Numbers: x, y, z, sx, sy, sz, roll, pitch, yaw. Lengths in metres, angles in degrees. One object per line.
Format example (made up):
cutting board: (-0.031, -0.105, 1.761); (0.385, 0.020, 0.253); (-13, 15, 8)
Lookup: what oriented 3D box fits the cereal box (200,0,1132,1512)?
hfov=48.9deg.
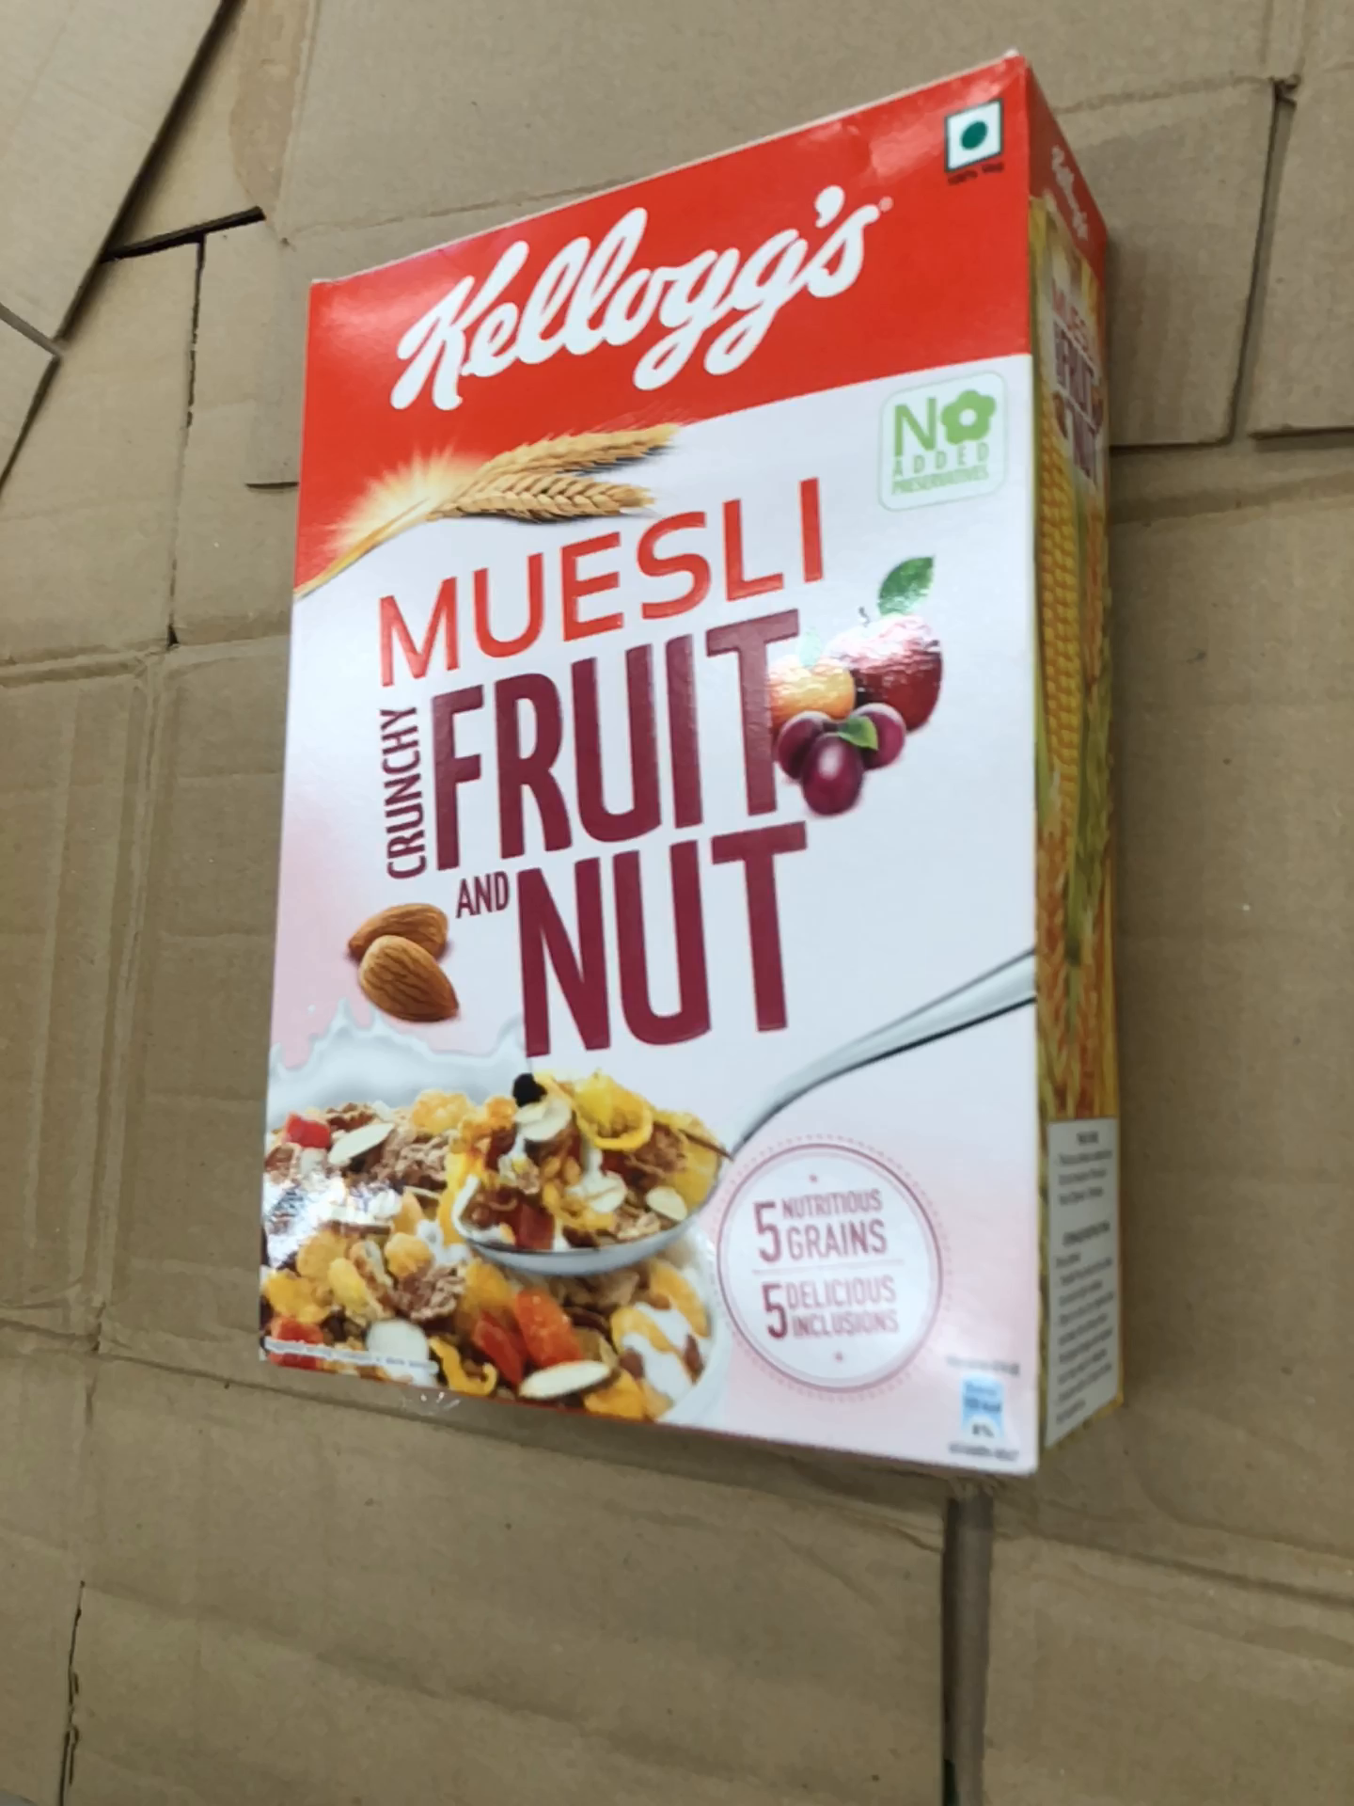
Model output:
cereal box: (-0.002, -0.024, 0.316); (0.170, 0.080, 0.250); (-3, 81, 30)
